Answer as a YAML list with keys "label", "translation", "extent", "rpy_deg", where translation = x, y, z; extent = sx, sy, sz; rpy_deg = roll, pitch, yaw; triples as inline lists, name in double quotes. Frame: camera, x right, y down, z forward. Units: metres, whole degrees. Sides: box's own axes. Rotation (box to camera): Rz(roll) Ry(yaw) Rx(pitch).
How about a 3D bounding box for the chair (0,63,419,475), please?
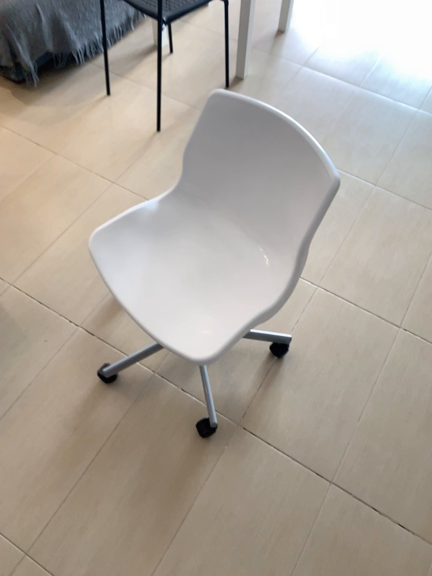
- label: "chair"
  translation: [-0.033, -0.045, 1.284]
  extent: [0.642, 0.647, 0.781]
  rpy_deg: [41, 66, 20]
